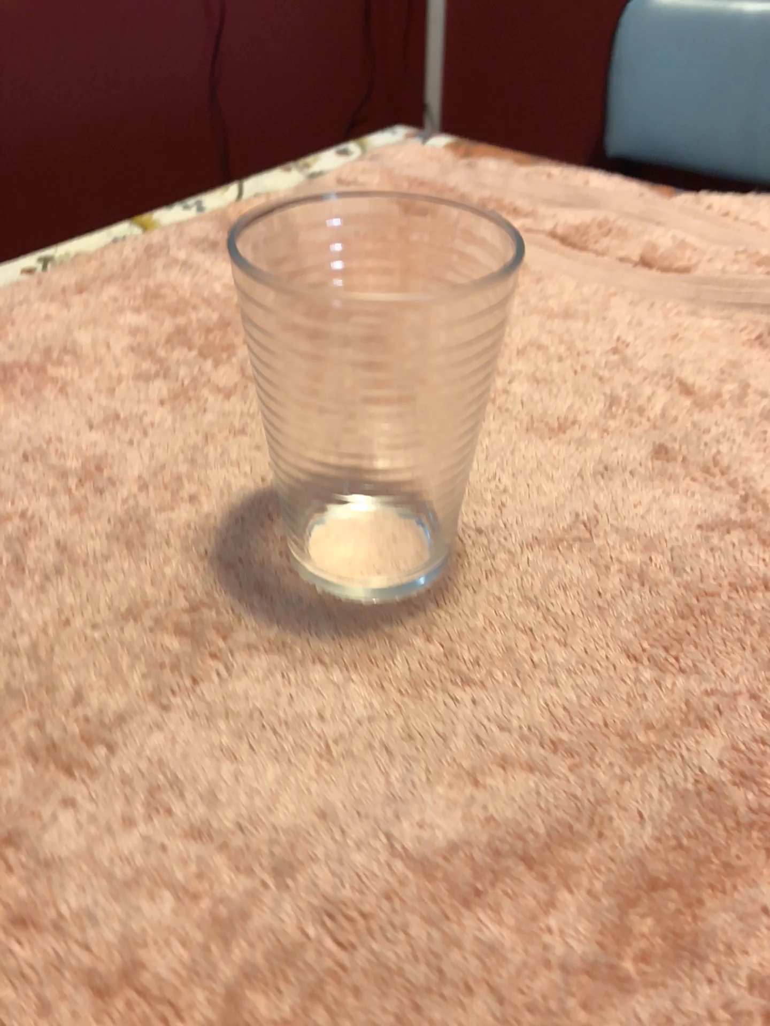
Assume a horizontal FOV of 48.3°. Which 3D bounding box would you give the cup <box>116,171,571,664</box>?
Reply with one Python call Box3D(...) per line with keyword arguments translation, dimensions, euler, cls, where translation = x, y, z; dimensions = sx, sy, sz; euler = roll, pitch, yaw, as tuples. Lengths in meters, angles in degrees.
Box3D(translation=(-0.007, -0.031, 0.235), dimensions=(0.080, 0.089, 0.080), euler=(0, 38, 0), cls="cup")
